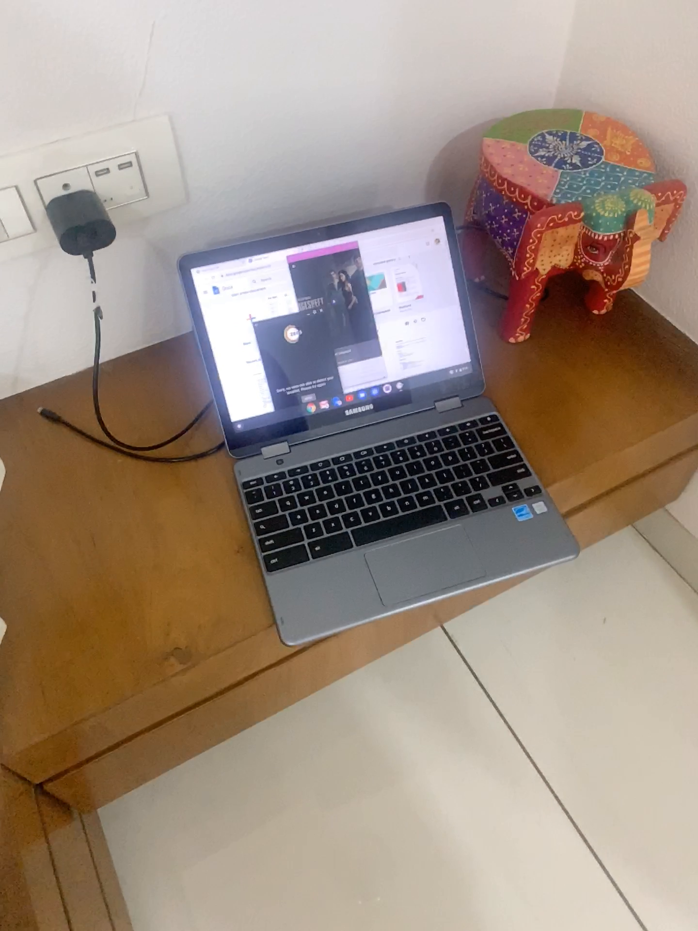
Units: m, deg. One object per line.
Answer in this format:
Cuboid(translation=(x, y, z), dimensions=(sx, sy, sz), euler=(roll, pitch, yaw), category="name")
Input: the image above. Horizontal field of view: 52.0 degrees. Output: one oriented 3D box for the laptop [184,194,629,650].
Cuboid(translation=(0.031, -0.066, 0.750), dimensions=(0.314, 0.164, 0.384), euler=(-15, 57, -9), category="laptop")
